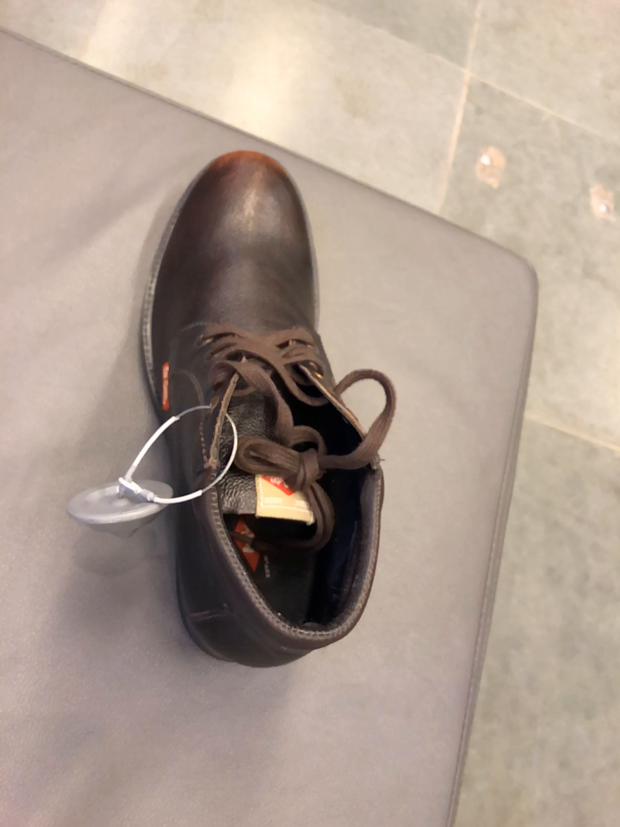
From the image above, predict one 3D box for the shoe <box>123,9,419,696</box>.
[{"bbox_3d":[-0.039,-0.020,0.381,0.108,0.177,0.299,2,74,-16],"label":"shoe"}]
